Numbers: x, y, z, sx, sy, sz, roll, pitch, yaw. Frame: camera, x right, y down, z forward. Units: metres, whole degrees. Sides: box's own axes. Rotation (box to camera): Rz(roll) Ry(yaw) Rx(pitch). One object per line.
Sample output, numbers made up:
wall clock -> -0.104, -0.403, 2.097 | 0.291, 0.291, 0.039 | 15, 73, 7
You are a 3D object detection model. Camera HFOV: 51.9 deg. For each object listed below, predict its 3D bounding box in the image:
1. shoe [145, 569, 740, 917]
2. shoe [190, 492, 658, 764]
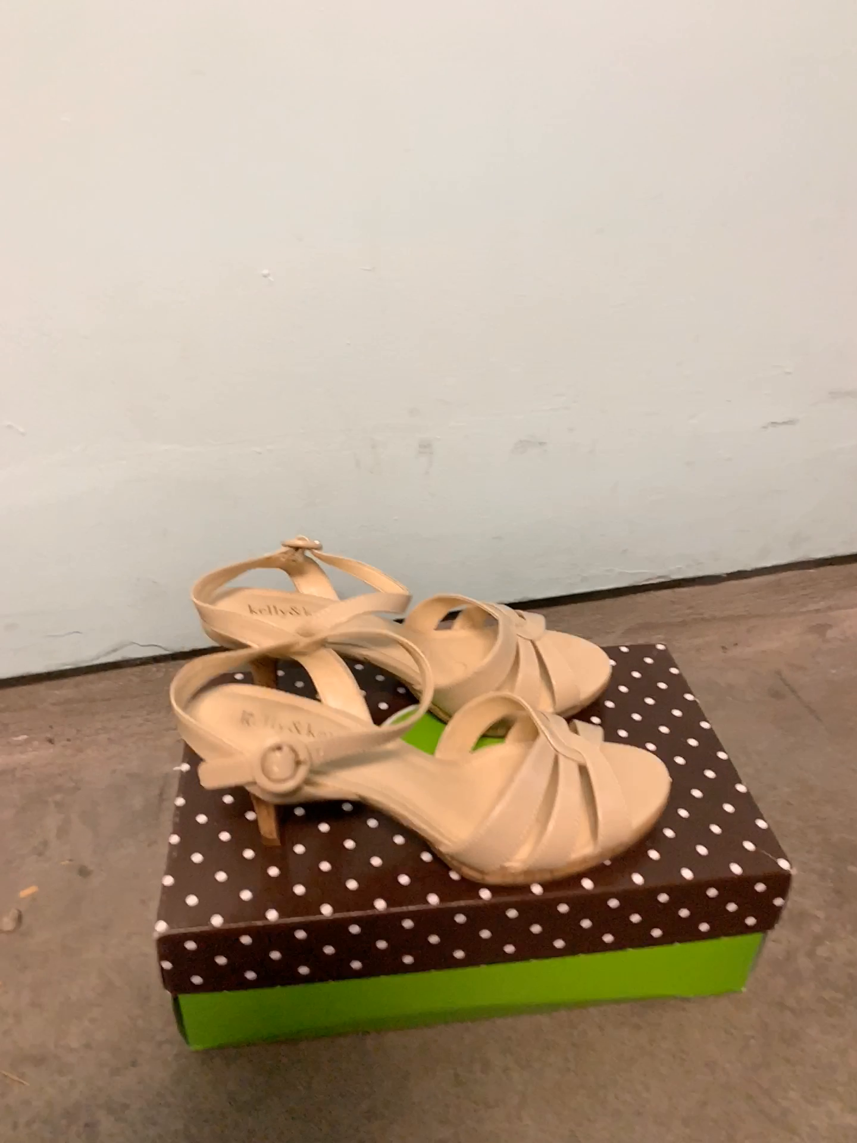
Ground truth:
shoe -> 0.004, 0.077, 0.423 | 0.240, 0.109, 0.101 | -3, 31, -5
shoe -> -0.005, 0.029, 0.519 | 0.240, 0.109, 0.101 | -3, 31, -5
